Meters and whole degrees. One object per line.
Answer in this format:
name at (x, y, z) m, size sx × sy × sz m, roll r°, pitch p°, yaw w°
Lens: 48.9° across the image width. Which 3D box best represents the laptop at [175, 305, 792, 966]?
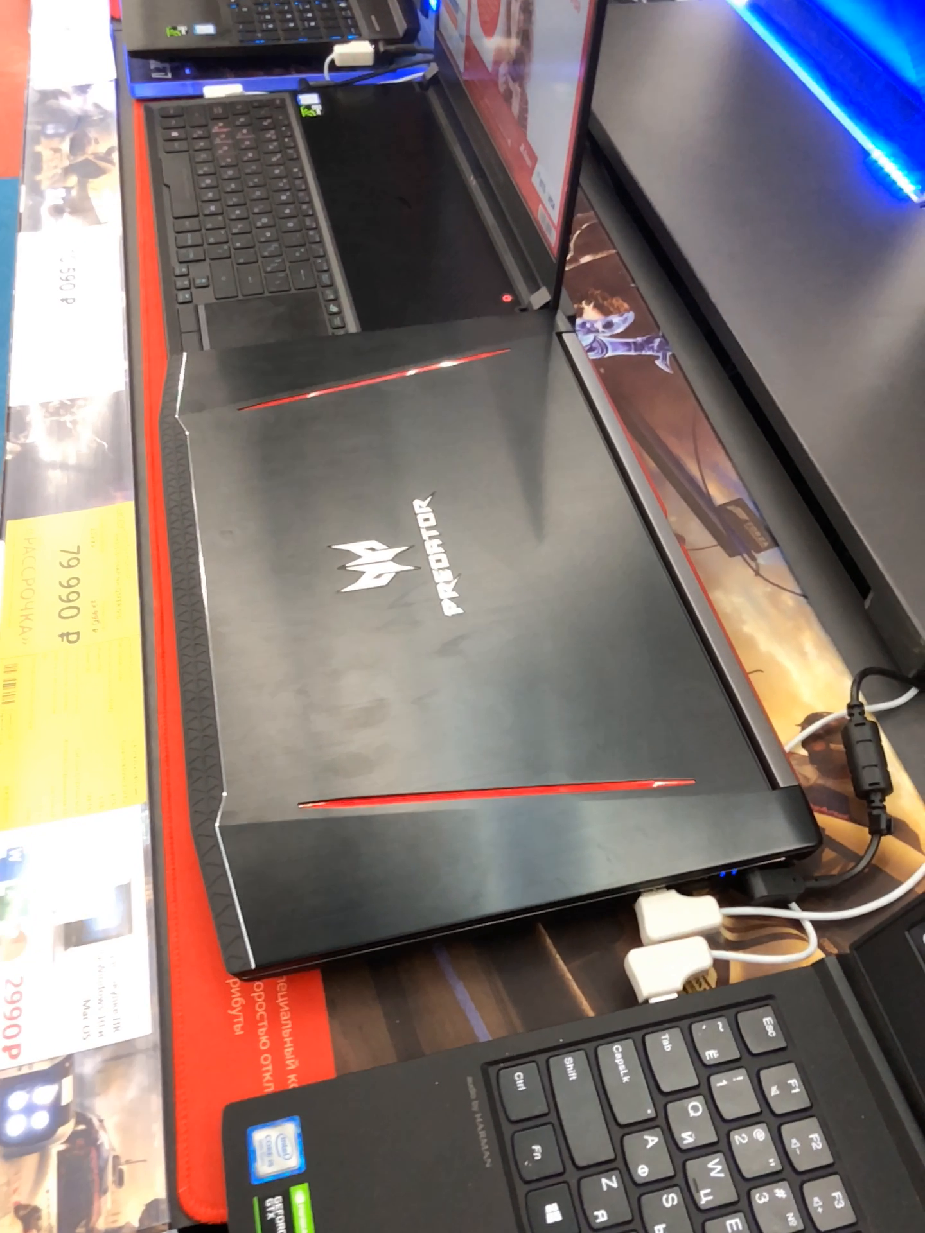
laptop at (-0.018, -0.033, 0.517) m, size 0.228 × 0.004 × 0.379 m, roll -9°, pitch 53°, yaw -10°
